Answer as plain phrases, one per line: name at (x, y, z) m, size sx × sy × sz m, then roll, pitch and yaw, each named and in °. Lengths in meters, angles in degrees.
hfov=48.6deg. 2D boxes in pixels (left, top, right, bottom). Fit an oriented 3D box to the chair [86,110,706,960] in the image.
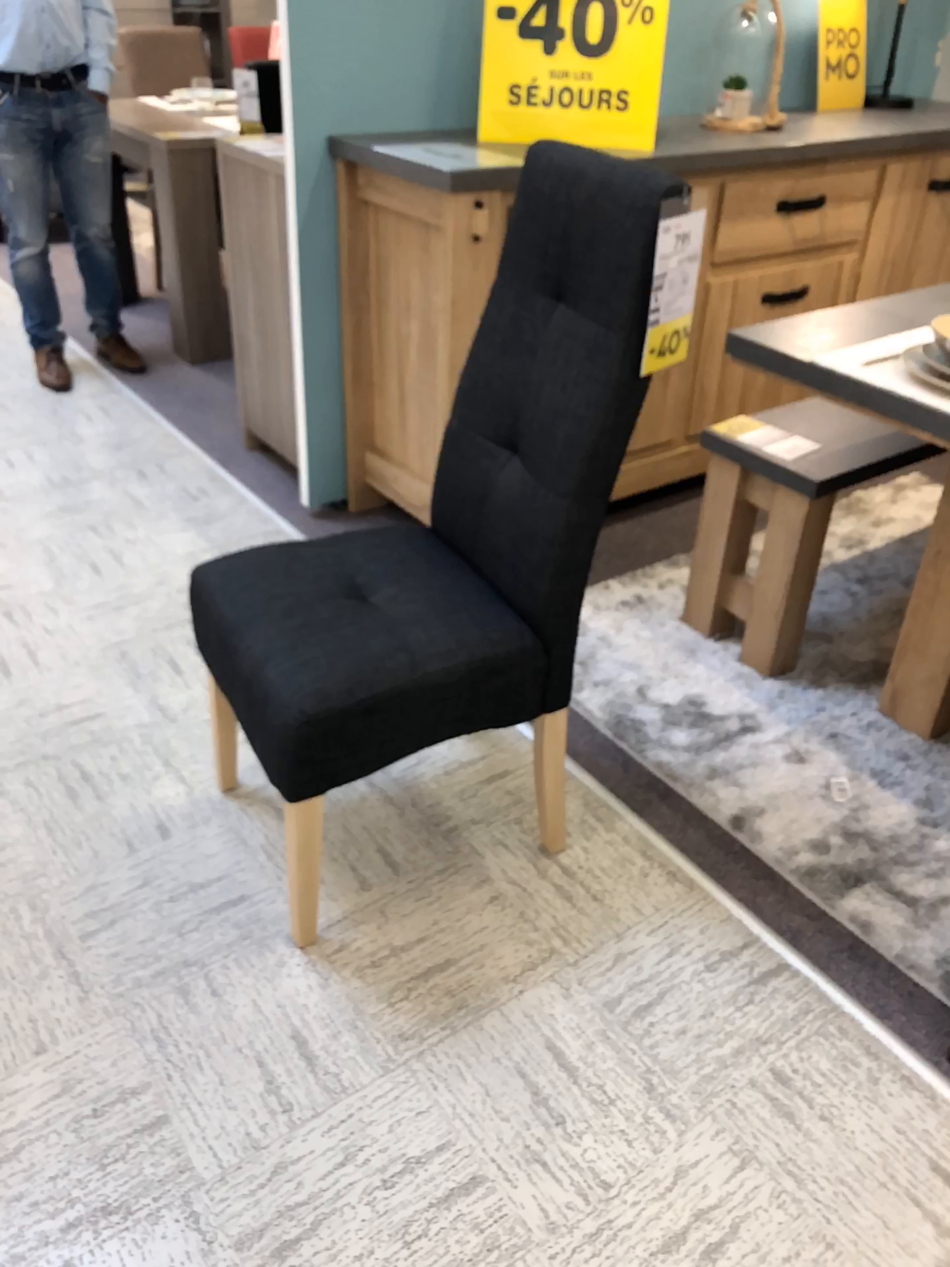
chair at (-0.126, -0.154, 1.553) m, size 0.602 × 1.043 × 0.481 m, roll -15°, pitch 37°, yaw -25°
